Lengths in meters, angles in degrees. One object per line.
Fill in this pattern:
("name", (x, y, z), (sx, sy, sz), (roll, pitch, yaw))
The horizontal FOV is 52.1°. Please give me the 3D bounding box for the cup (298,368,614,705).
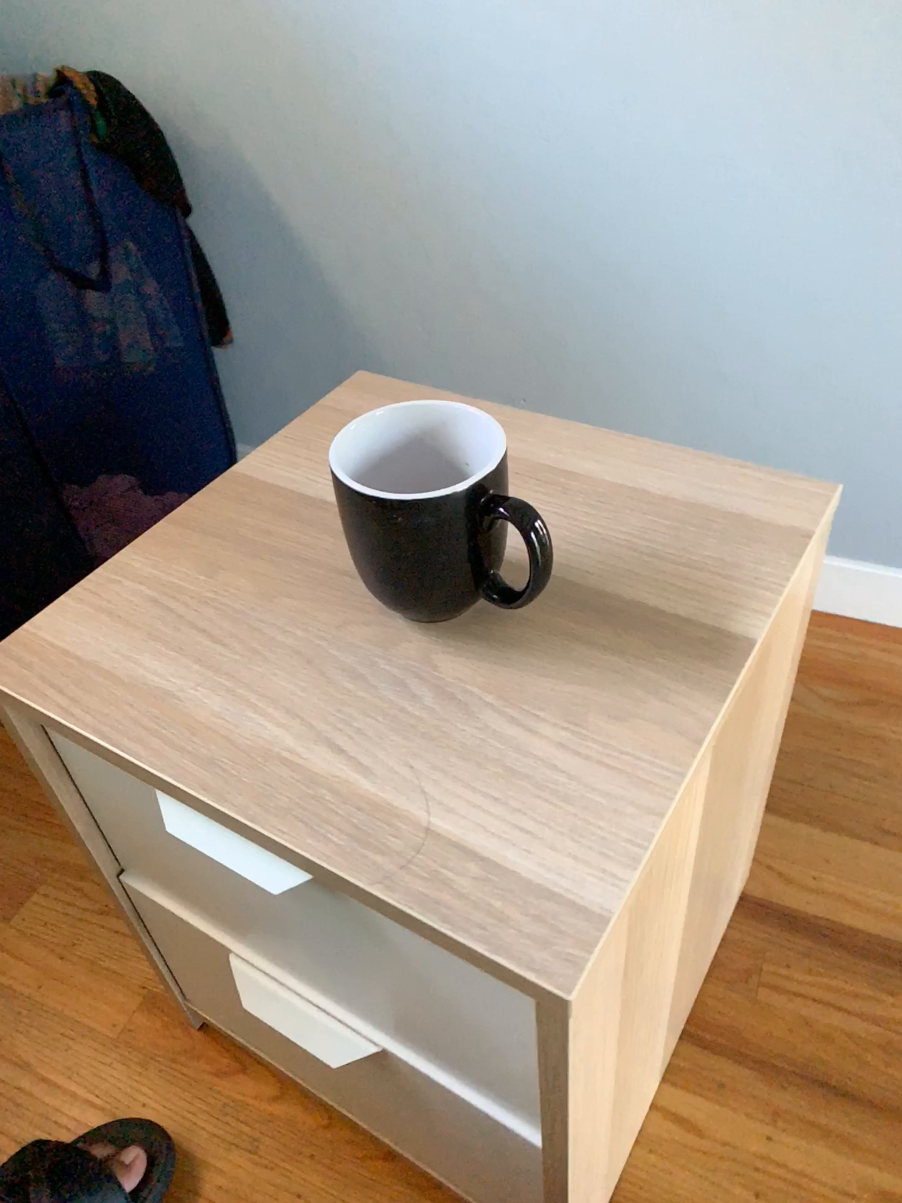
("cup", (0.006, -0.042, 0.537), (0.141, 0.119, 0.100), (29, 53, 34))
